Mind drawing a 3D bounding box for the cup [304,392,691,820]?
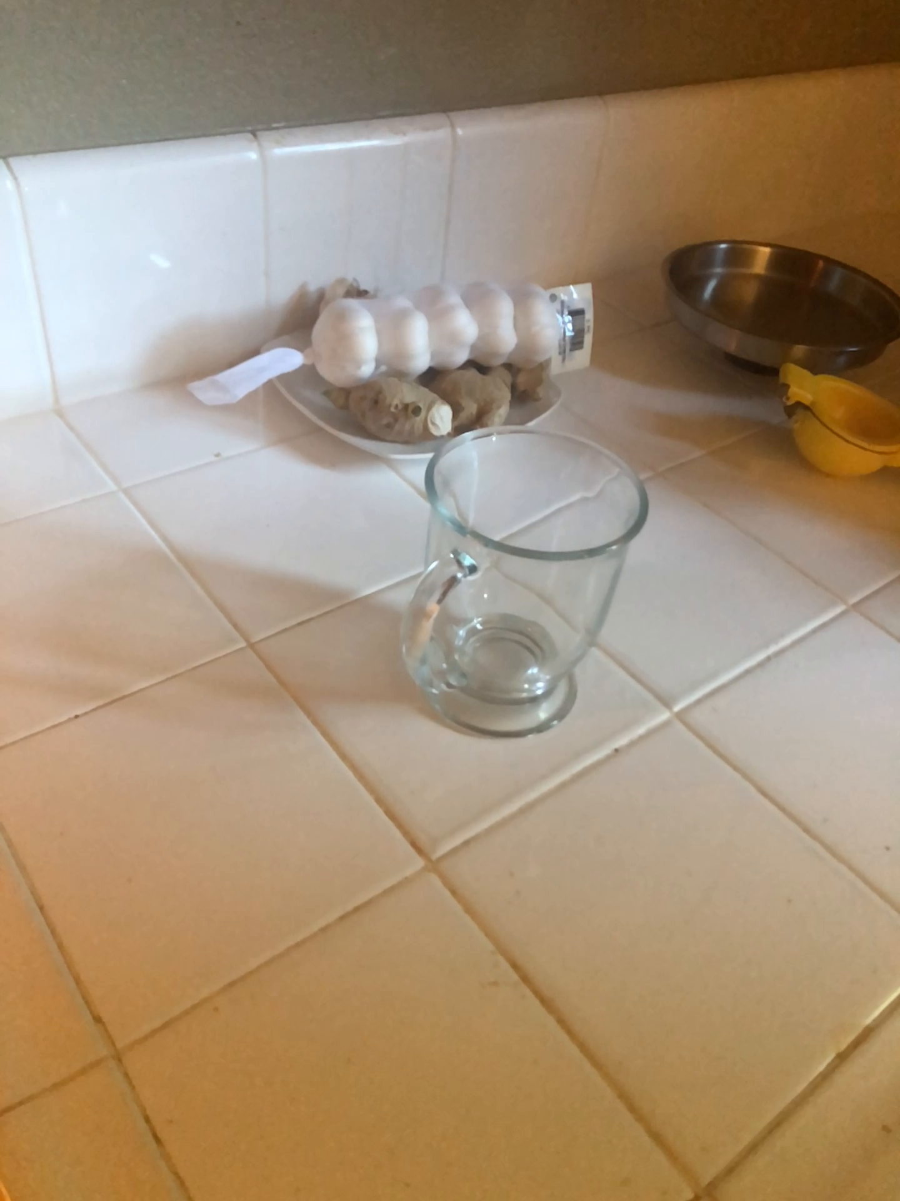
[{"bbox_3d":[0.017,-0.002,0.454,0.131,0.119,0.100,-30,54,-35],"label":"cup"}]
